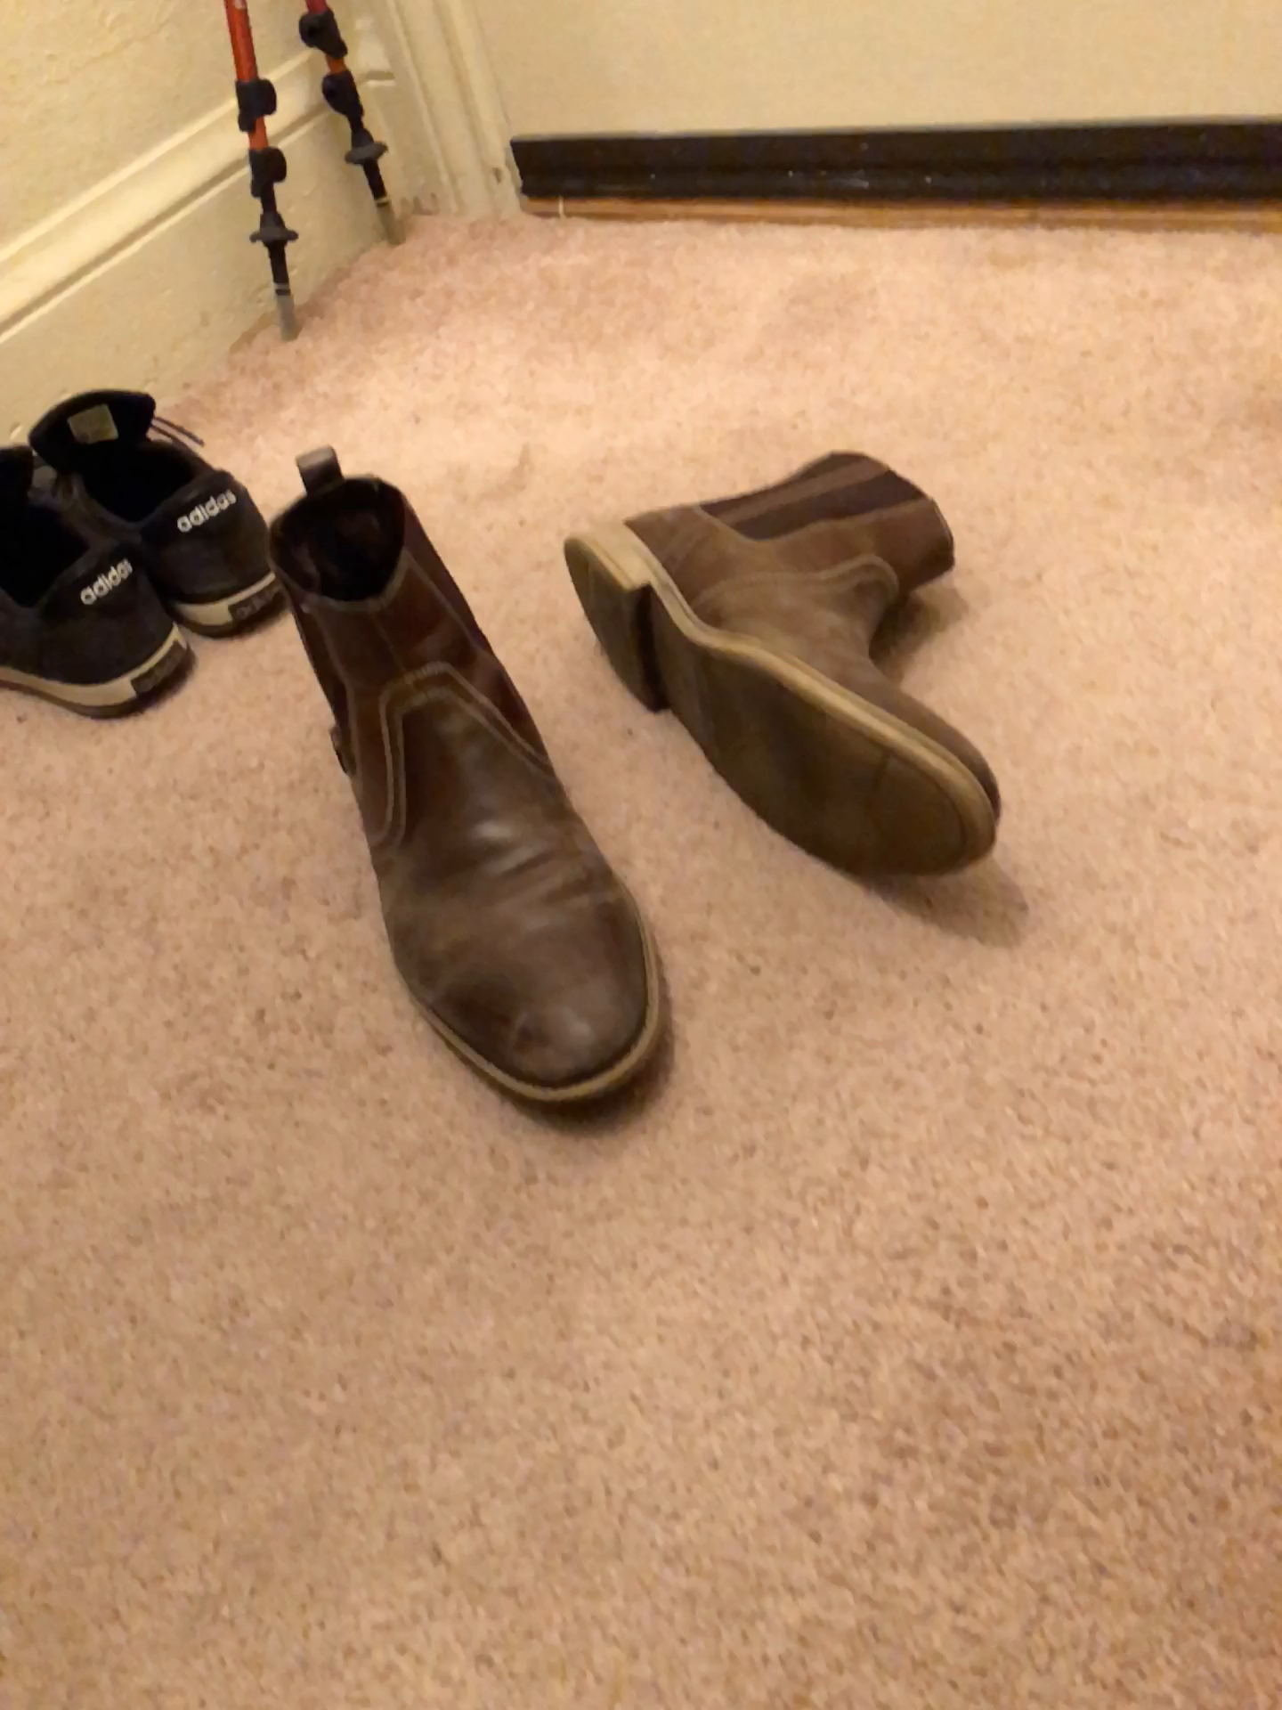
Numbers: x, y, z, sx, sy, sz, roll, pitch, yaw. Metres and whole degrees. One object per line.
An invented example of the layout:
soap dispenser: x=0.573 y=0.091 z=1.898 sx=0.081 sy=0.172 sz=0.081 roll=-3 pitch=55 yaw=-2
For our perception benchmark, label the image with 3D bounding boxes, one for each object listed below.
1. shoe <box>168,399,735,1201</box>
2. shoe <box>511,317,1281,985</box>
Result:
shoe: x=-0.091 y=-0.039 z=0.615 sx=0.115 sy=0.175 sz=0.309 roll=-25 pitch=45 yaw=-7
shoe: x=0.105 y=-0.117 z=0.671 sx=0.186 sy=0.114 sz=0.315 roll=-33 pitch=47 yaw=-12
